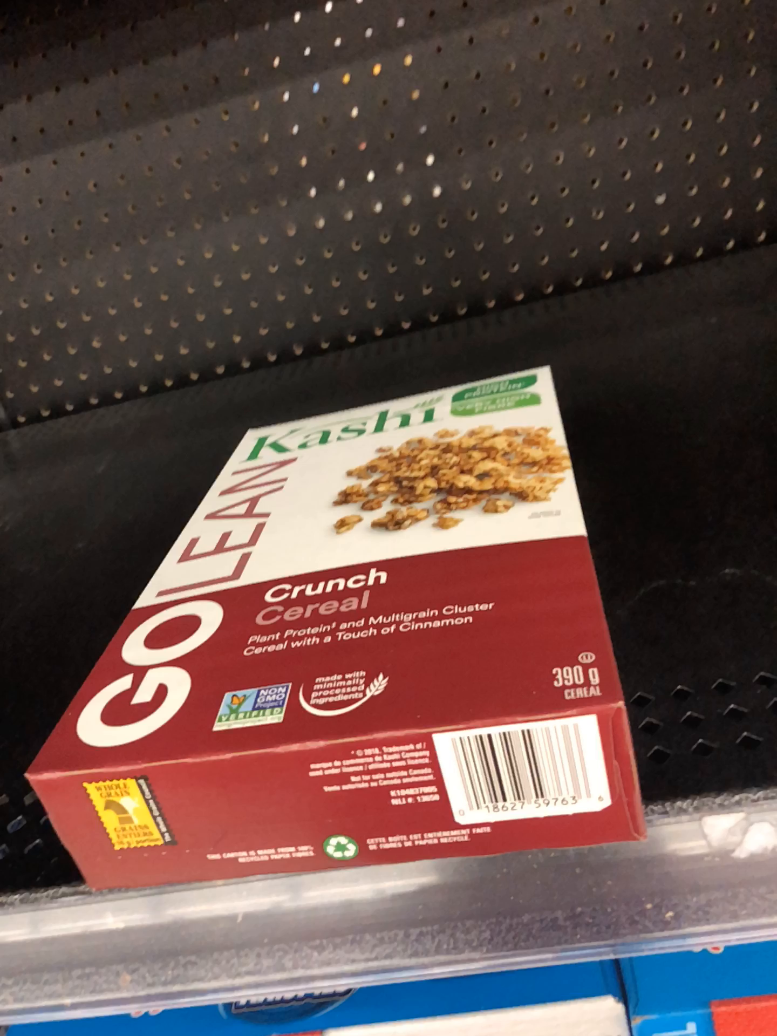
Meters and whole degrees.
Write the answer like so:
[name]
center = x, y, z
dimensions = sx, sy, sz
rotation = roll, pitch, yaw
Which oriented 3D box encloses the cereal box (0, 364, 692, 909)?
[cereal box]
center = -0.003, 0.016, 0.360
dimensions = 0.180, 0.050, 0.291
rotation = -9, 24, 9
